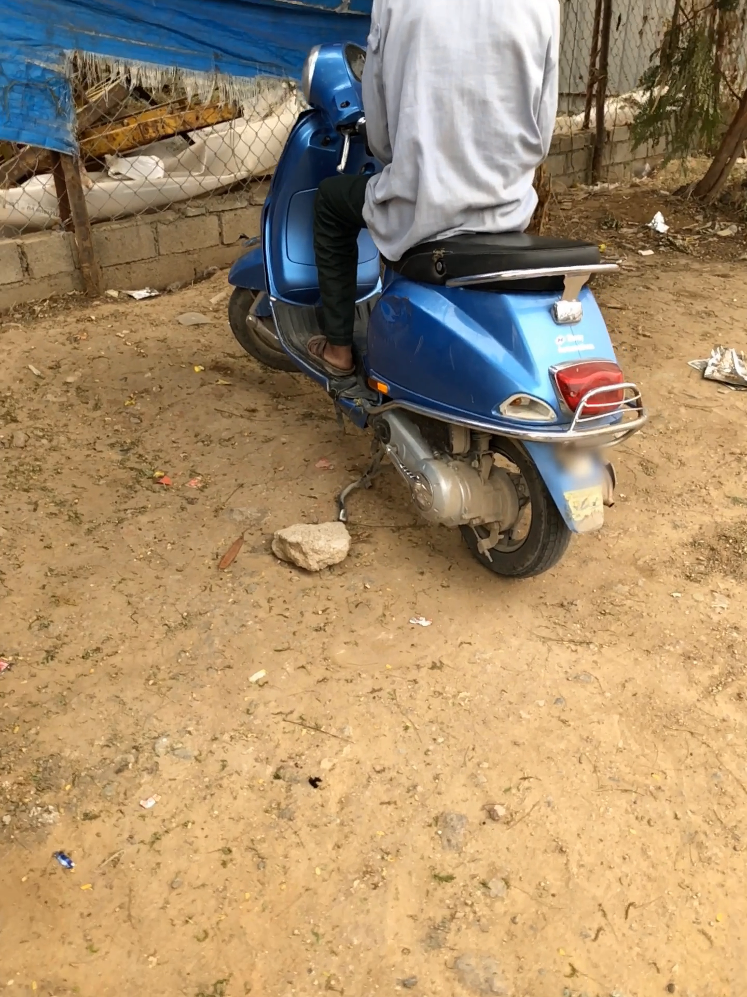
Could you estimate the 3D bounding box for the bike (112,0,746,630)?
[{"bbox_3d":[0.008,-0.706,2.314,0.634,1.253,1.569,-20,40,-32],"label":"bike"}]
